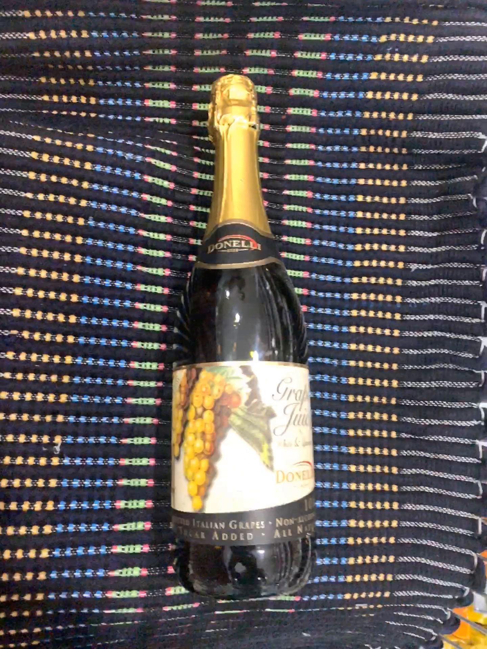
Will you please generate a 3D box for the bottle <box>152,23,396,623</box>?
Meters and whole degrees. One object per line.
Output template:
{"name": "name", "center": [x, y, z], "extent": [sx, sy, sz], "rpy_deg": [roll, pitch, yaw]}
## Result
{"name": "bottle", "center": [0.003, -0.013, 0.291], "extent": [0.090, 0.080, 0.300], "rpy_deg": [3, 72, -23]}
